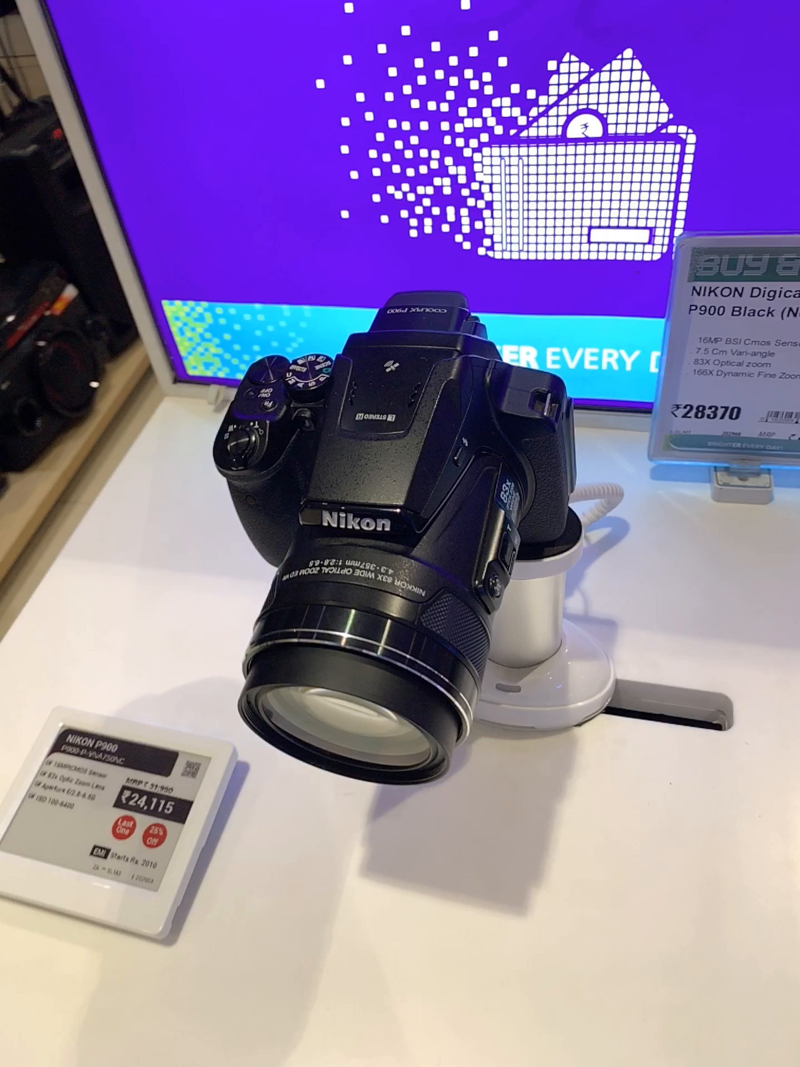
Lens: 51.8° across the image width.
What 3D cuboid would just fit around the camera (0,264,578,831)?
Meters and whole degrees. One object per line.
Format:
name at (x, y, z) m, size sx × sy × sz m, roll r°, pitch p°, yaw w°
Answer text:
camera at (-0.021, -0.008, 0.281) m, size 0.140 × 0.090 × 0.160 m, roll 6°, pitch 48°, yaw 14°
